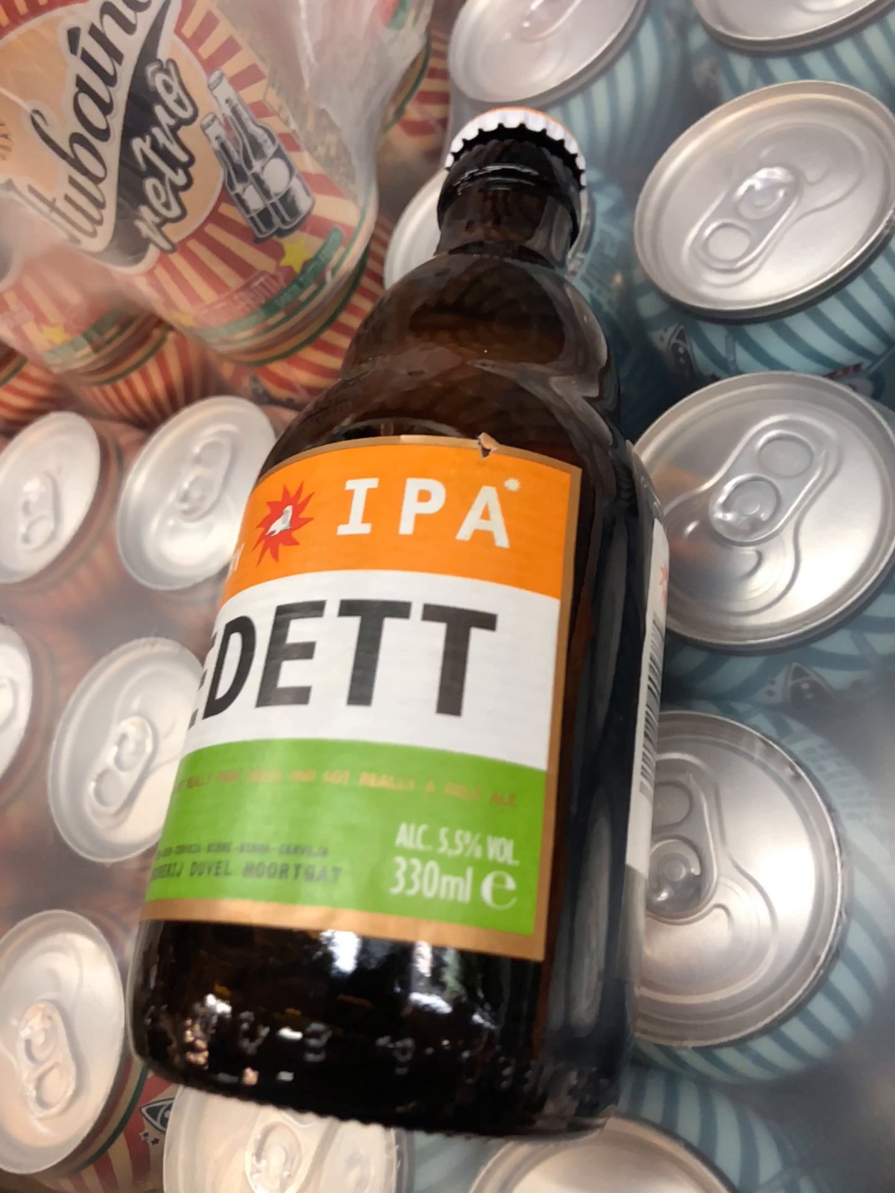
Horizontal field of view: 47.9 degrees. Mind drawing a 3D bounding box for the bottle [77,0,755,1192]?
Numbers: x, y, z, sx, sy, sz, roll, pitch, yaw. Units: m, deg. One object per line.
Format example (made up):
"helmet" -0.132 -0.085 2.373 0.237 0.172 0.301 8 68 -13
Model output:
"bottle" 0.008 -0.017 0.167 0.070 0.060 0.190 -6 67 30
